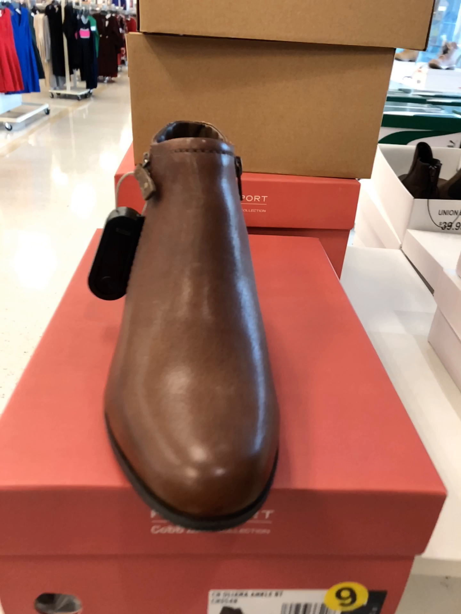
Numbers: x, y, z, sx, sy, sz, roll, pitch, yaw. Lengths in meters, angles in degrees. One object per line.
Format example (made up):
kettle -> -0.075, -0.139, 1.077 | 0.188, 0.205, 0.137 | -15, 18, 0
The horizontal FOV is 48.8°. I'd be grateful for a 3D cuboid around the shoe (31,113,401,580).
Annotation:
shoe -> -0.022, -0.020, 0.288 | 0.101, 0.119, 0.282 | 0, 30, -8
